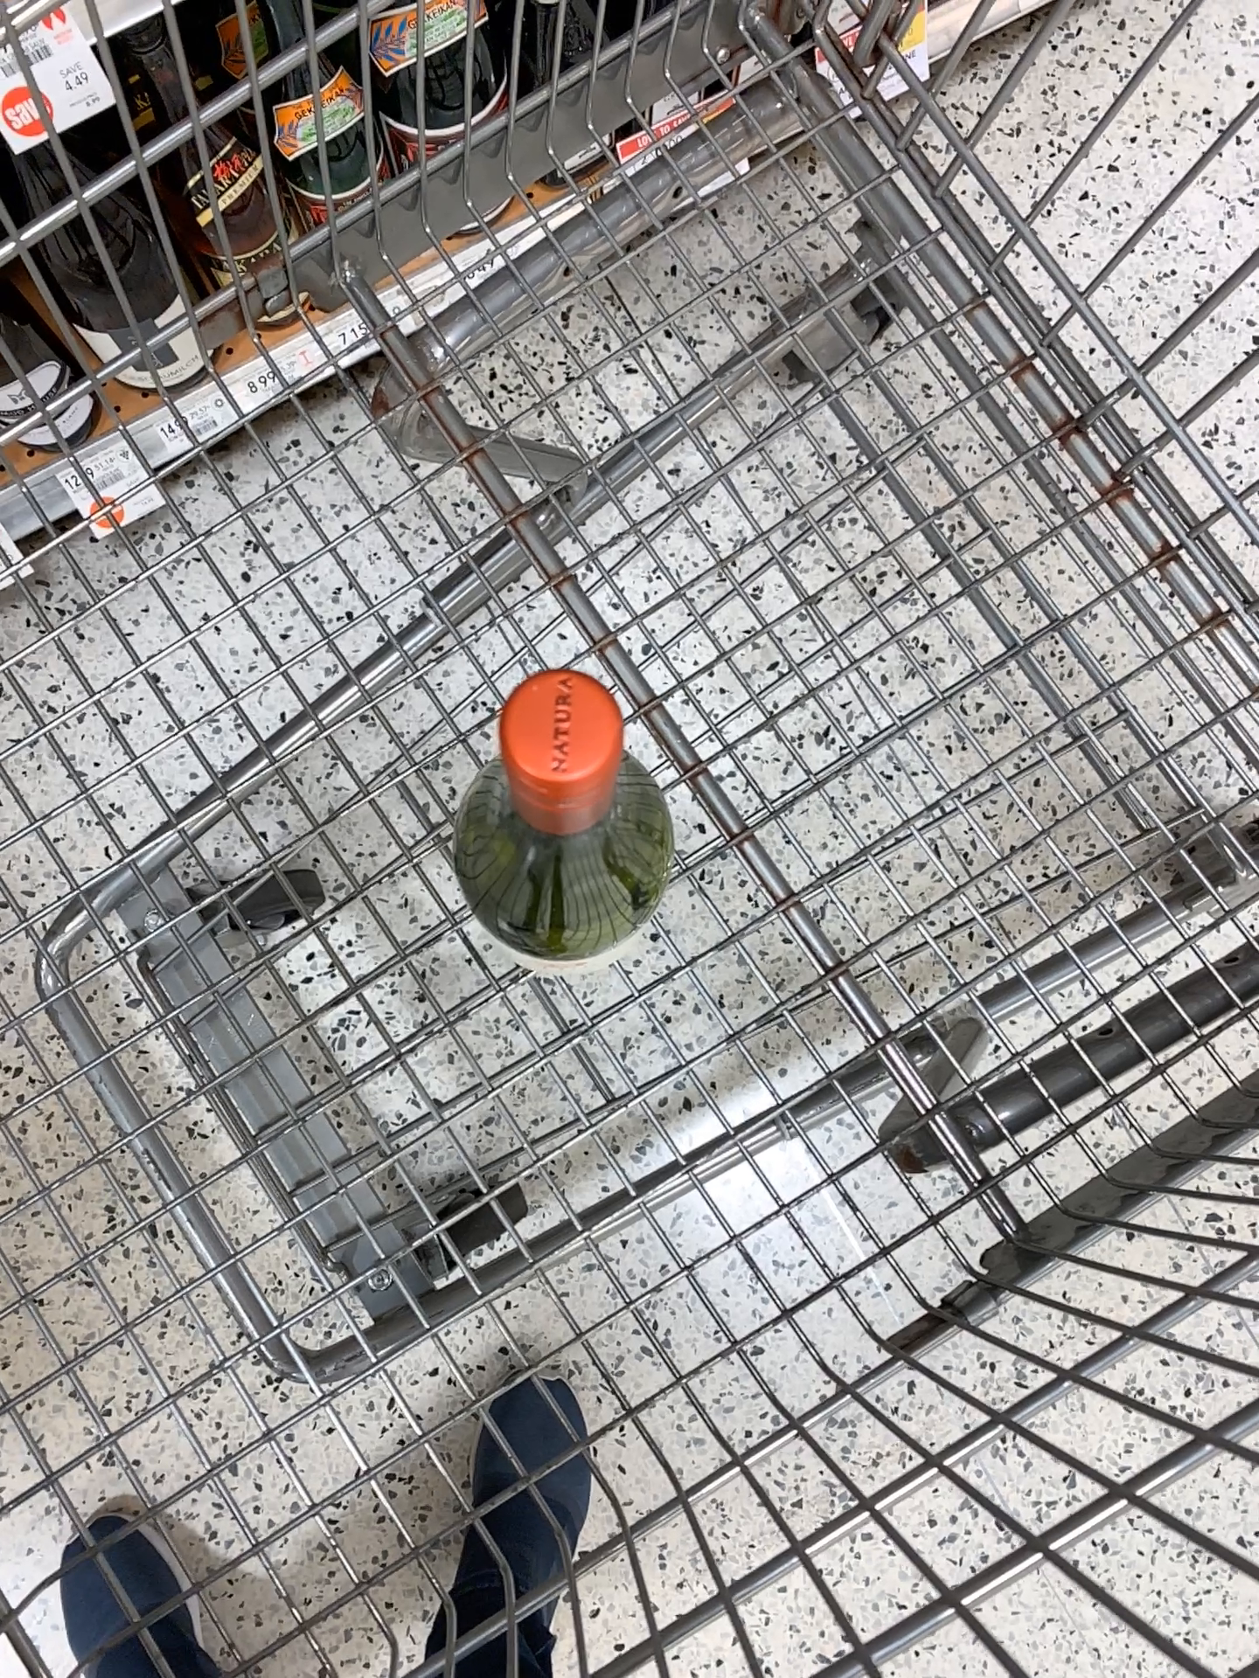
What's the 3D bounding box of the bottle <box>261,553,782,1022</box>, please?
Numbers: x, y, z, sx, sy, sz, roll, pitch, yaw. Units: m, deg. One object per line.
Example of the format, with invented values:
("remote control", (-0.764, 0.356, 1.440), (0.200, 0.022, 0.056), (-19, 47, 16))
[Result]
("bottle", (-0.023, 0.008, 0.402), (0.090, 0.300, 0.080), (10, 82, 0))
